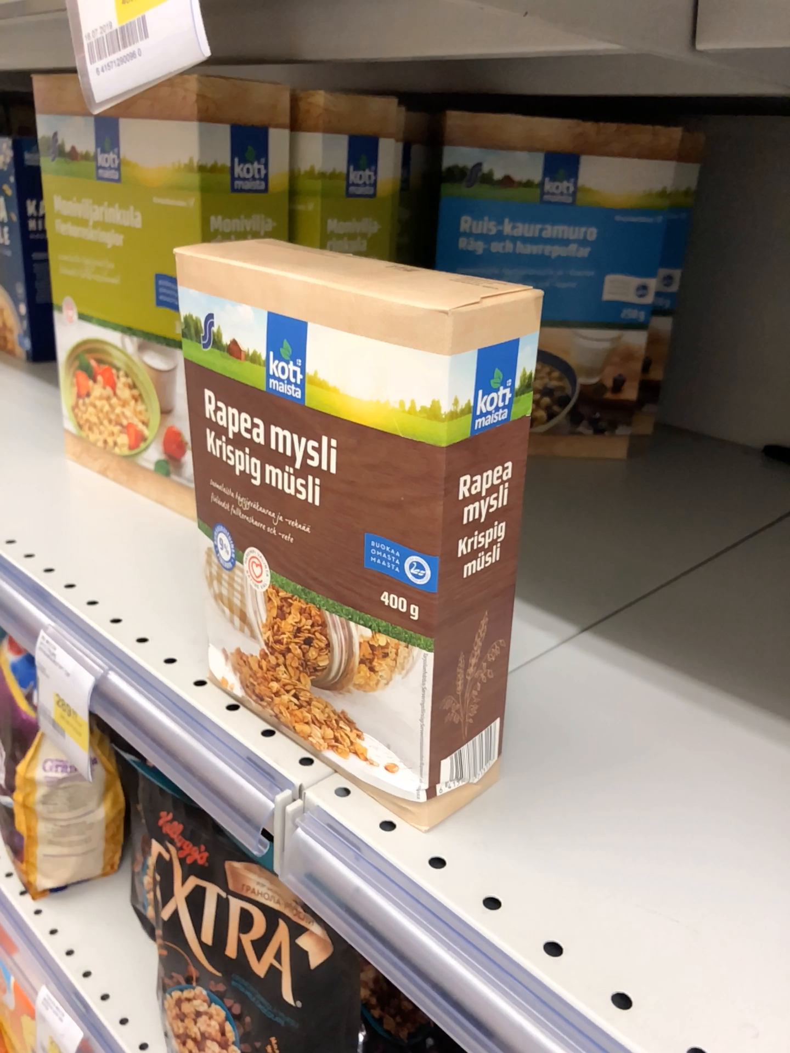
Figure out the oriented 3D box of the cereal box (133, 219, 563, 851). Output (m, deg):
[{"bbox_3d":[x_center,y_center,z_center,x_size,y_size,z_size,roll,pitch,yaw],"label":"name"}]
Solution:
[{"bbox_3d":[-0.025,-0.006,0.323,0.150,0.189,0.050,23,31,39],"label":"cereal box"}]
